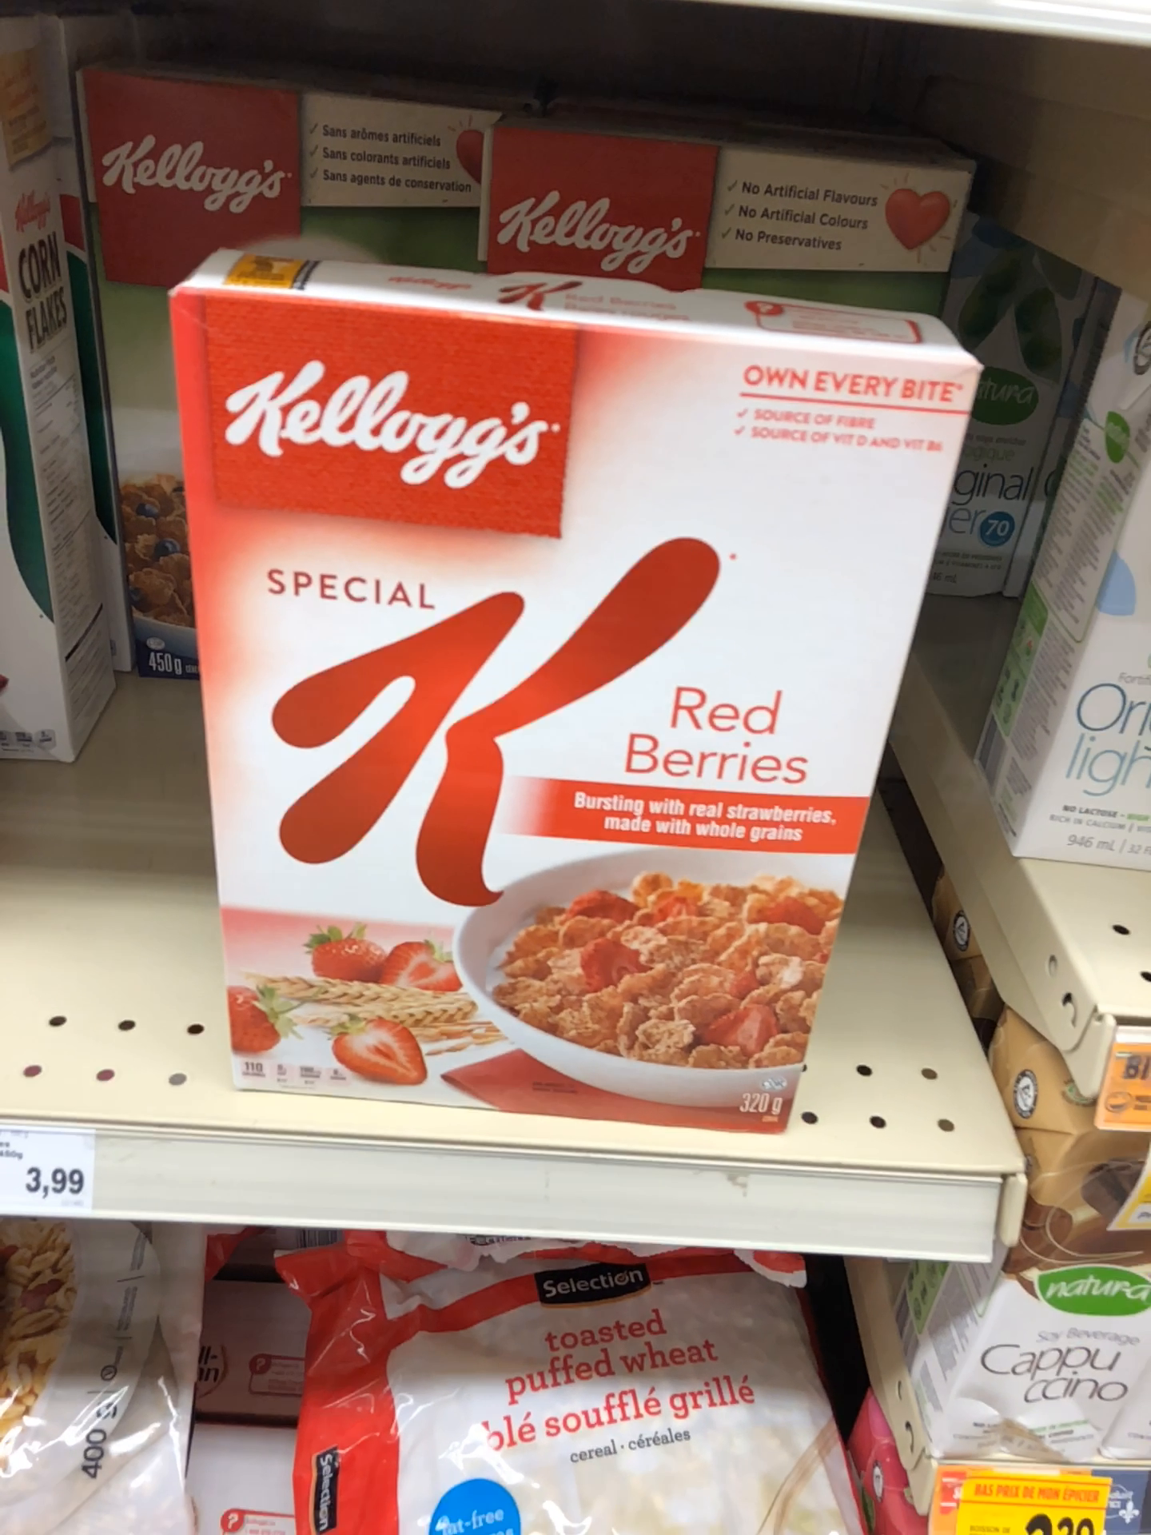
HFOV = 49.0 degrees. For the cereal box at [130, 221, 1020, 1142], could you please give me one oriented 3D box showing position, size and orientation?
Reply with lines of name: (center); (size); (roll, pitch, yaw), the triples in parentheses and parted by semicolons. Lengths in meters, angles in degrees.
cereal box: (-0.010, -0.008, 0.398); (0.210, 0.278, 0.061); (5, 33, -1)
